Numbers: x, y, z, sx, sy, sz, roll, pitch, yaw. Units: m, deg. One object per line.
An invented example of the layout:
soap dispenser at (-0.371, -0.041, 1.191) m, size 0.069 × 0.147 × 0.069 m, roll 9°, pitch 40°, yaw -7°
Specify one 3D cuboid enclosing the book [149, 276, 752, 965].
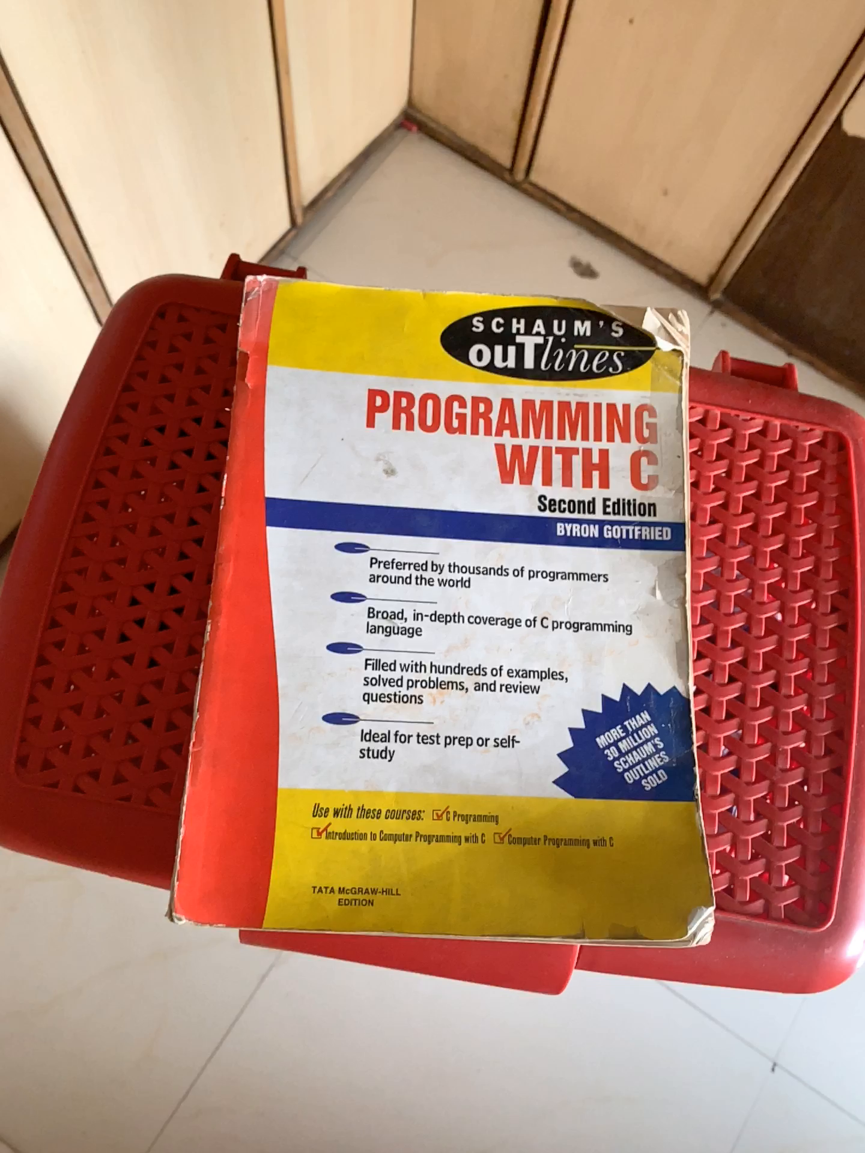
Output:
book at (0.013, 0.011, 0.356) m, size 0.200 × 0.050 × 0.251 m, roll 4°, pitch 73°, yaw -3°
